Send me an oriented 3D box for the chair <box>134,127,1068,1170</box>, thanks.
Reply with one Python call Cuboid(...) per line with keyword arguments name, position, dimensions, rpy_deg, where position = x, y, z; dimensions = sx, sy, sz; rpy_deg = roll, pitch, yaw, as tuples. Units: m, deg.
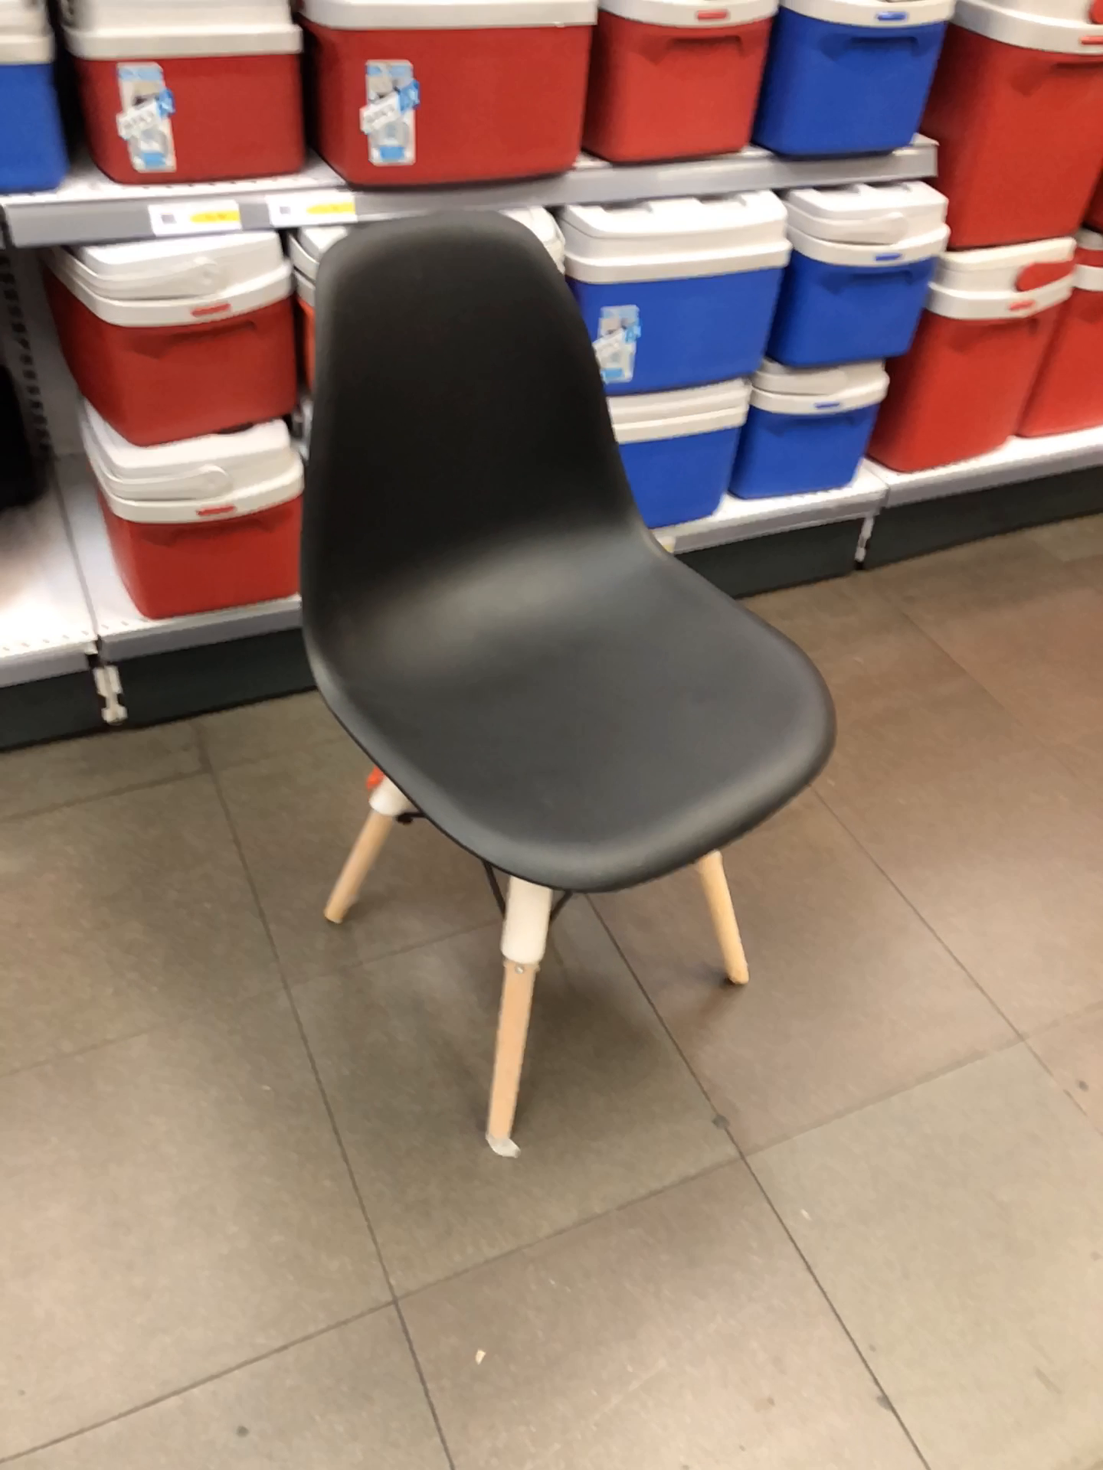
Cuboid(name="chair", position=(0.008, -0.100, 1.198), dimensions=(0.502, 0.724, 0.552), rpy_deg=(-28, 51, -31))
